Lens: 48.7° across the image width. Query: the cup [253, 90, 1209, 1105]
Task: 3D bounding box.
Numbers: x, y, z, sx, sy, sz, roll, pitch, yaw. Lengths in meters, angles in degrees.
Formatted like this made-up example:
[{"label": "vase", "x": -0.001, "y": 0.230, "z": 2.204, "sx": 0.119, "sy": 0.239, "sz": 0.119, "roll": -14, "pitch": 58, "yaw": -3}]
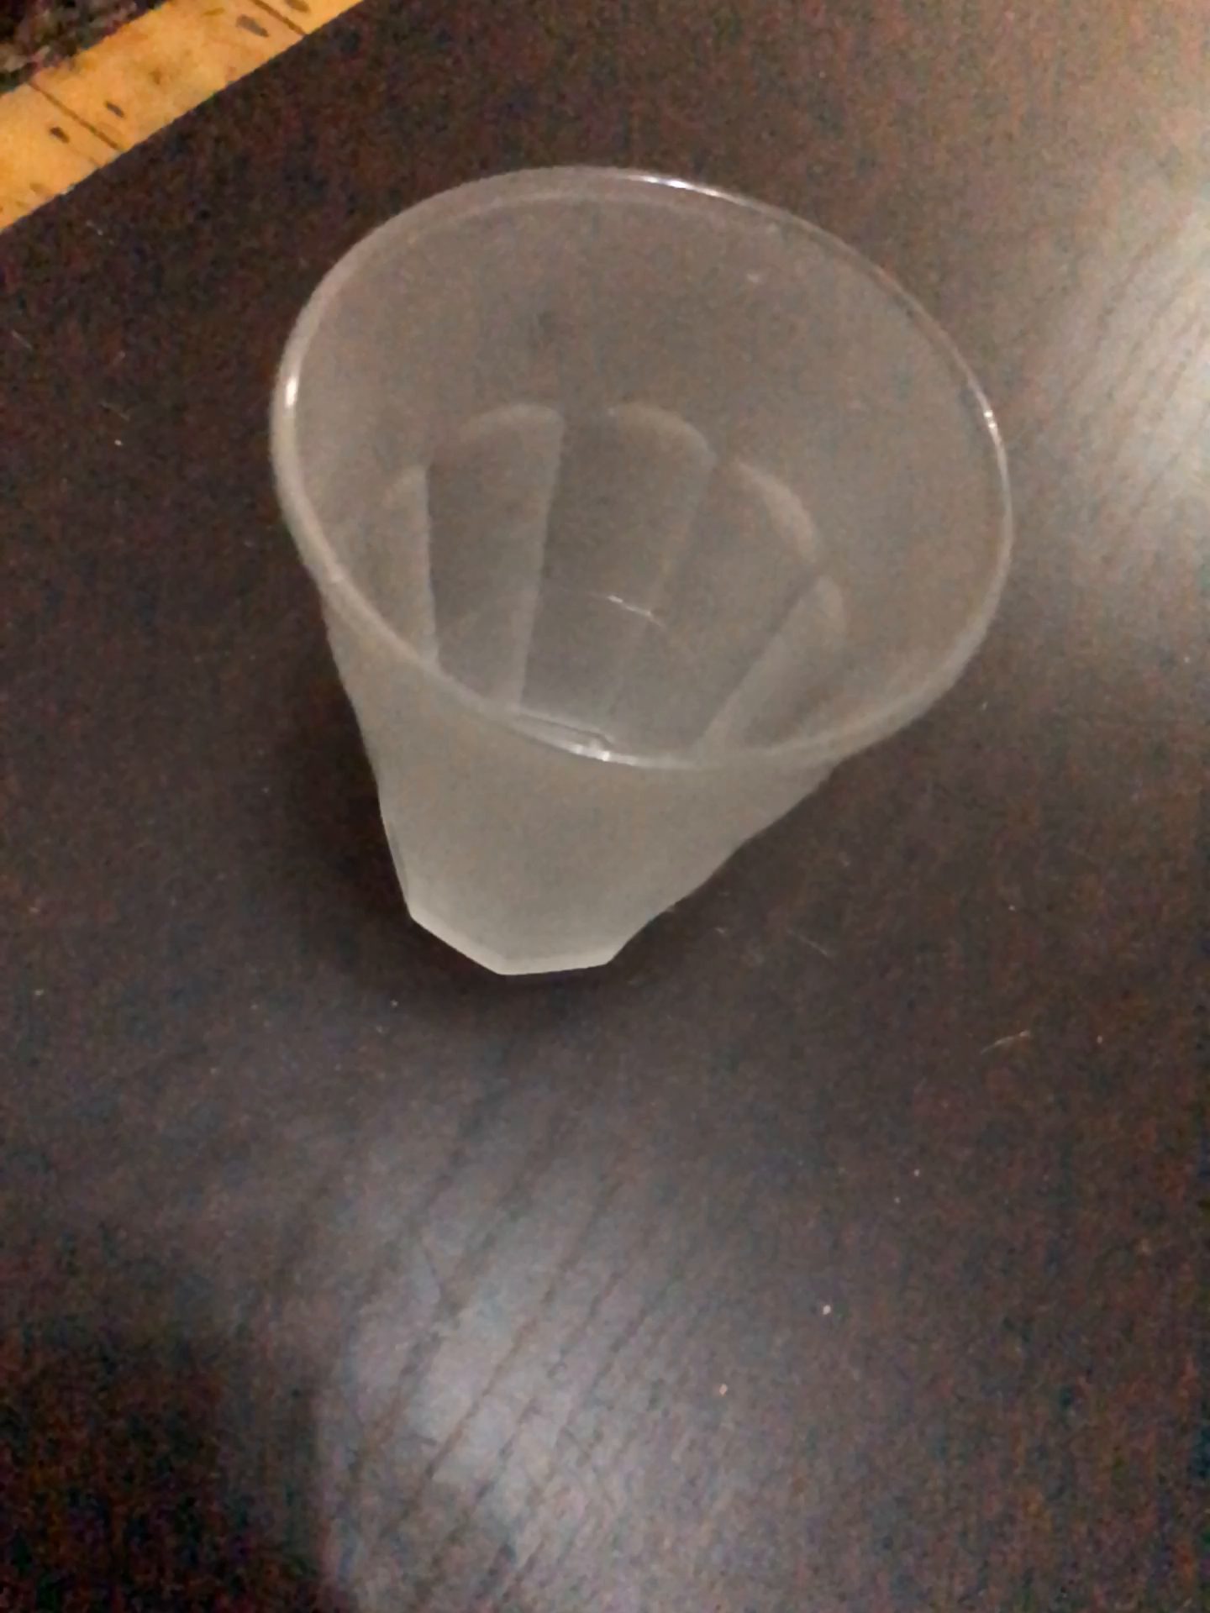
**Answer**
[{"label": "cup", "x": 0.002, "y": -0.017, "z": 0.205, "sx": 0.100, "sy": 0.129, "sz": 0.090, "roll": -2, "pitch": 66, "yaw": -12}]
